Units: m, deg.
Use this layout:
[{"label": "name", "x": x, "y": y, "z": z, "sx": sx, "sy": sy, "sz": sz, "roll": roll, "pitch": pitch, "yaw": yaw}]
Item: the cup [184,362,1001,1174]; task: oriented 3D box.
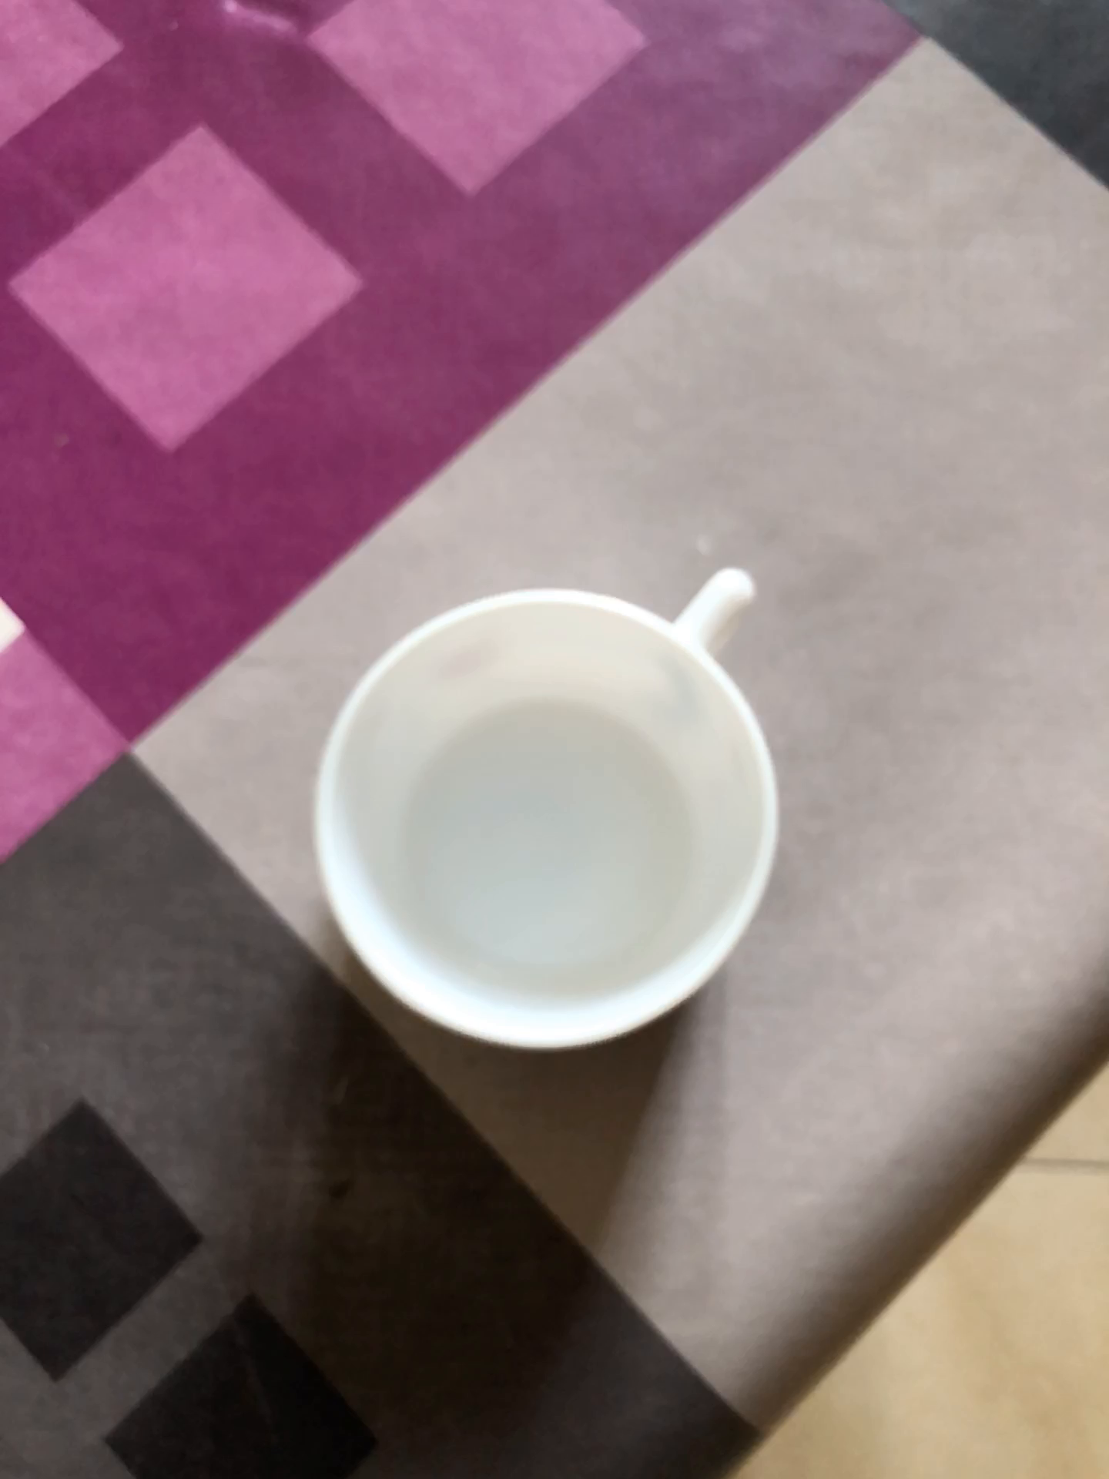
[{"label": "cup", "x": 0.007, "y": 0.005, "z": 0.231, "sx": 0.080, "sy": 0.050, "sz": 0.110, "roll": 43, "pitch": 82, "yaw": 8}]
